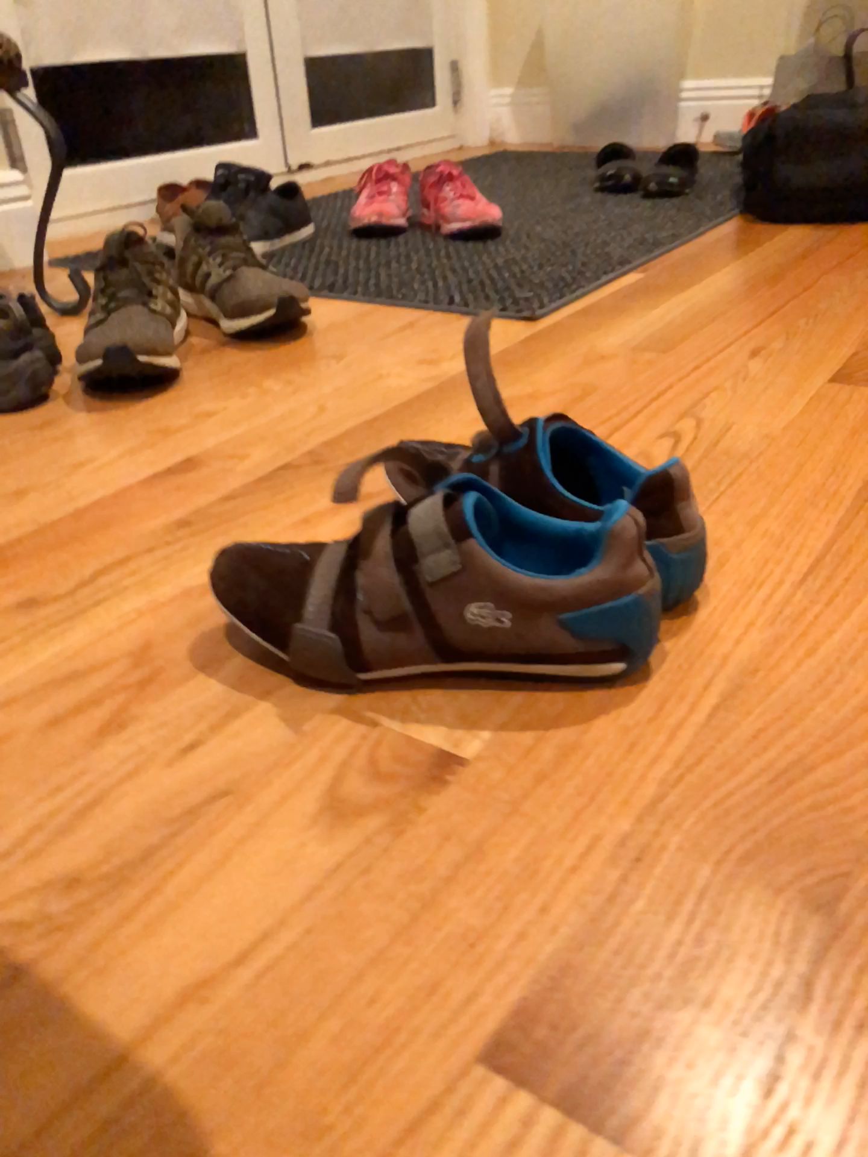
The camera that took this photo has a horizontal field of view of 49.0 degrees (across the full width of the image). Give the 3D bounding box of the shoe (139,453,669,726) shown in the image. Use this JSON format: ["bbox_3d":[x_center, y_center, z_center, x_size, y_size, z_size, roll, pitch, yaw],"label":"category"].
[{"bbox_3d":[-0.009,-0.001,0.512,0.255,0.091,0.103,4,30,14],"label":"shoe"}]

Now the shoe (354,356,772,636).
[{"bbox_3d":[0.073,-0.068,0.623,0.102,0.091,0.256,-27,37,-35],"label":"shoe"}]
